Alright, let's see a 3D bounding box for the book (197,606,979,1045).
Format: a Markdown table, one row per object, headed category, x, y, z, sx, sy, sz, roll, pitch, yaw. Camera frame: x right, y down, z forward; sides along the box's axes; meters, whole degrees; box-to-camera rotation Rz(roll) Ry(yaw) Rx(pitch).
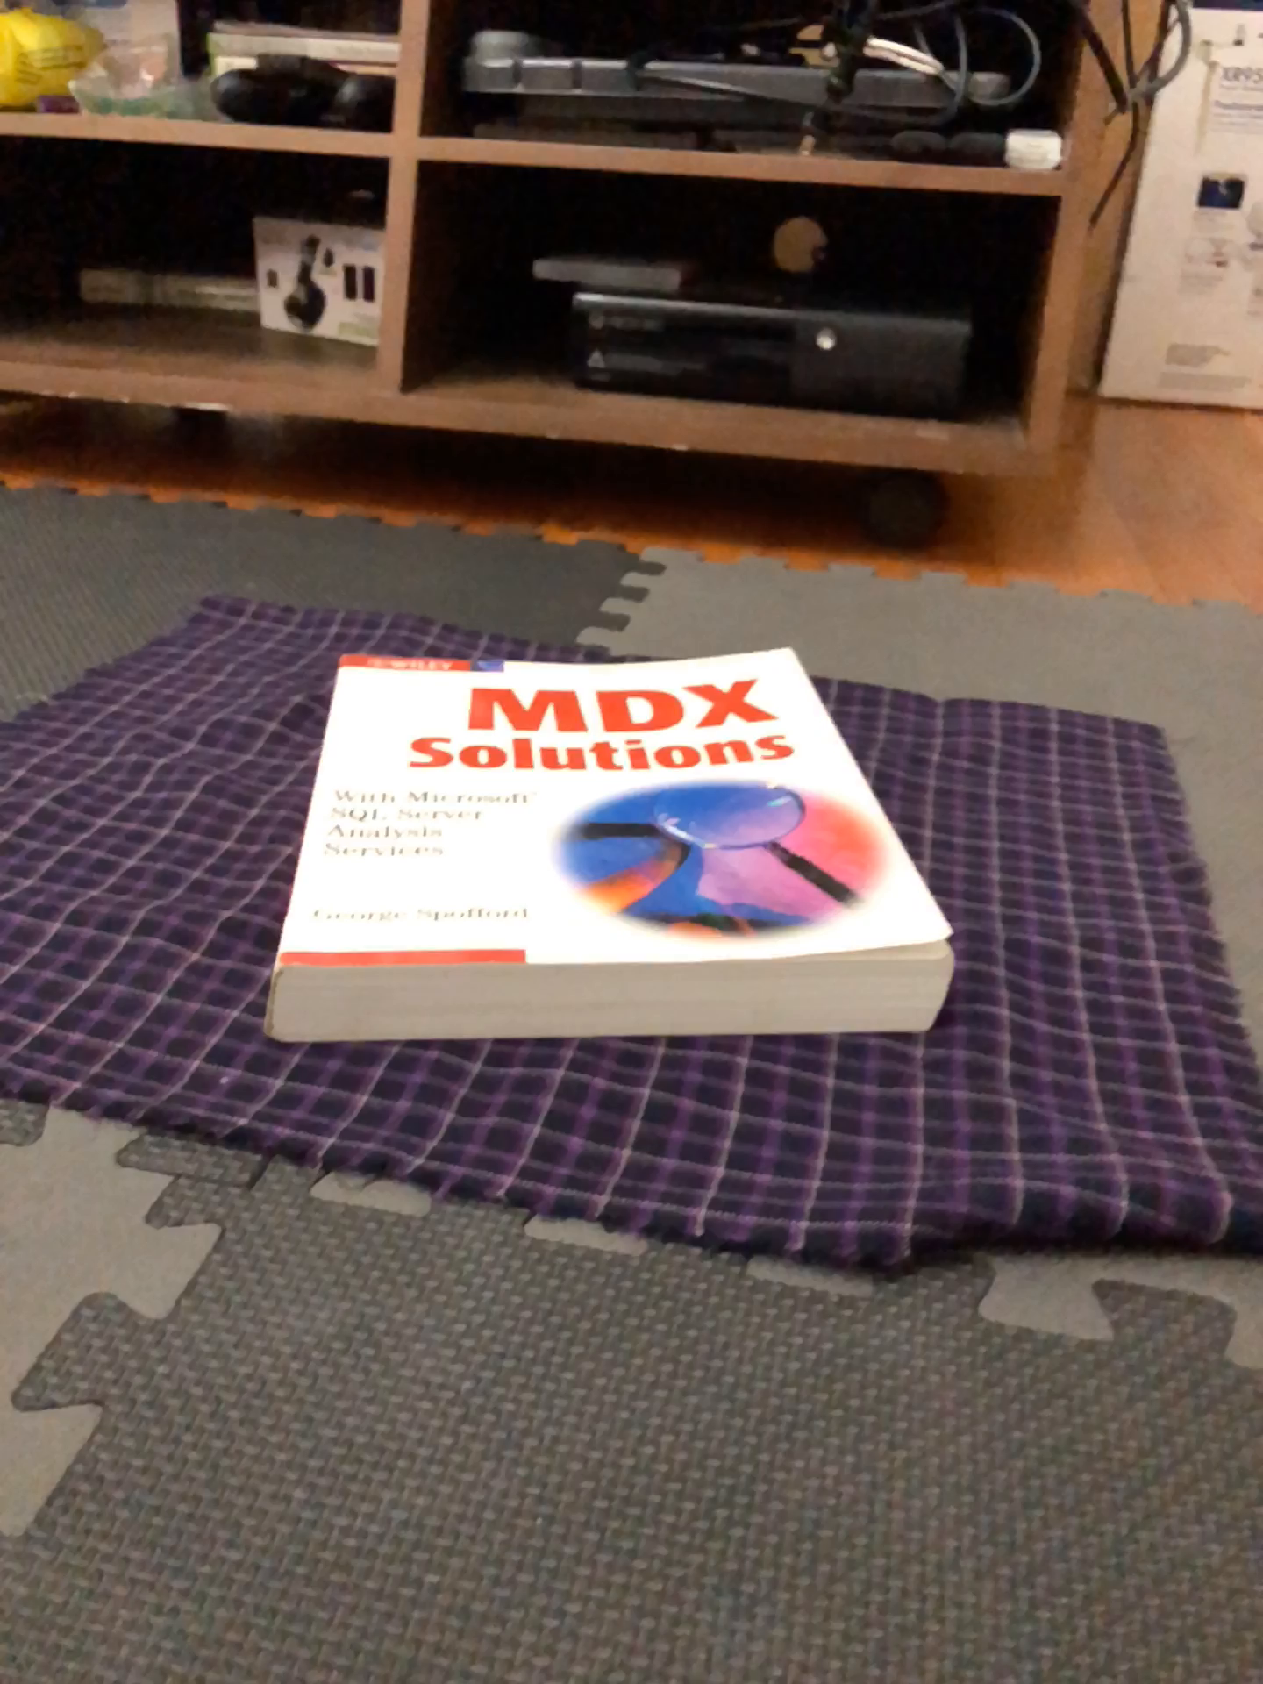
| category | x | y | z | sx | sy | sz | roll | pitch | yaw |
| --- | --- | --- | --- | --- | --- | --- | --- | --- | --- |
| book | -0.024 | -0.023 | 0.520 | 0.220 | 0.050 | 0.261 | 0 | 27 | -7 |
